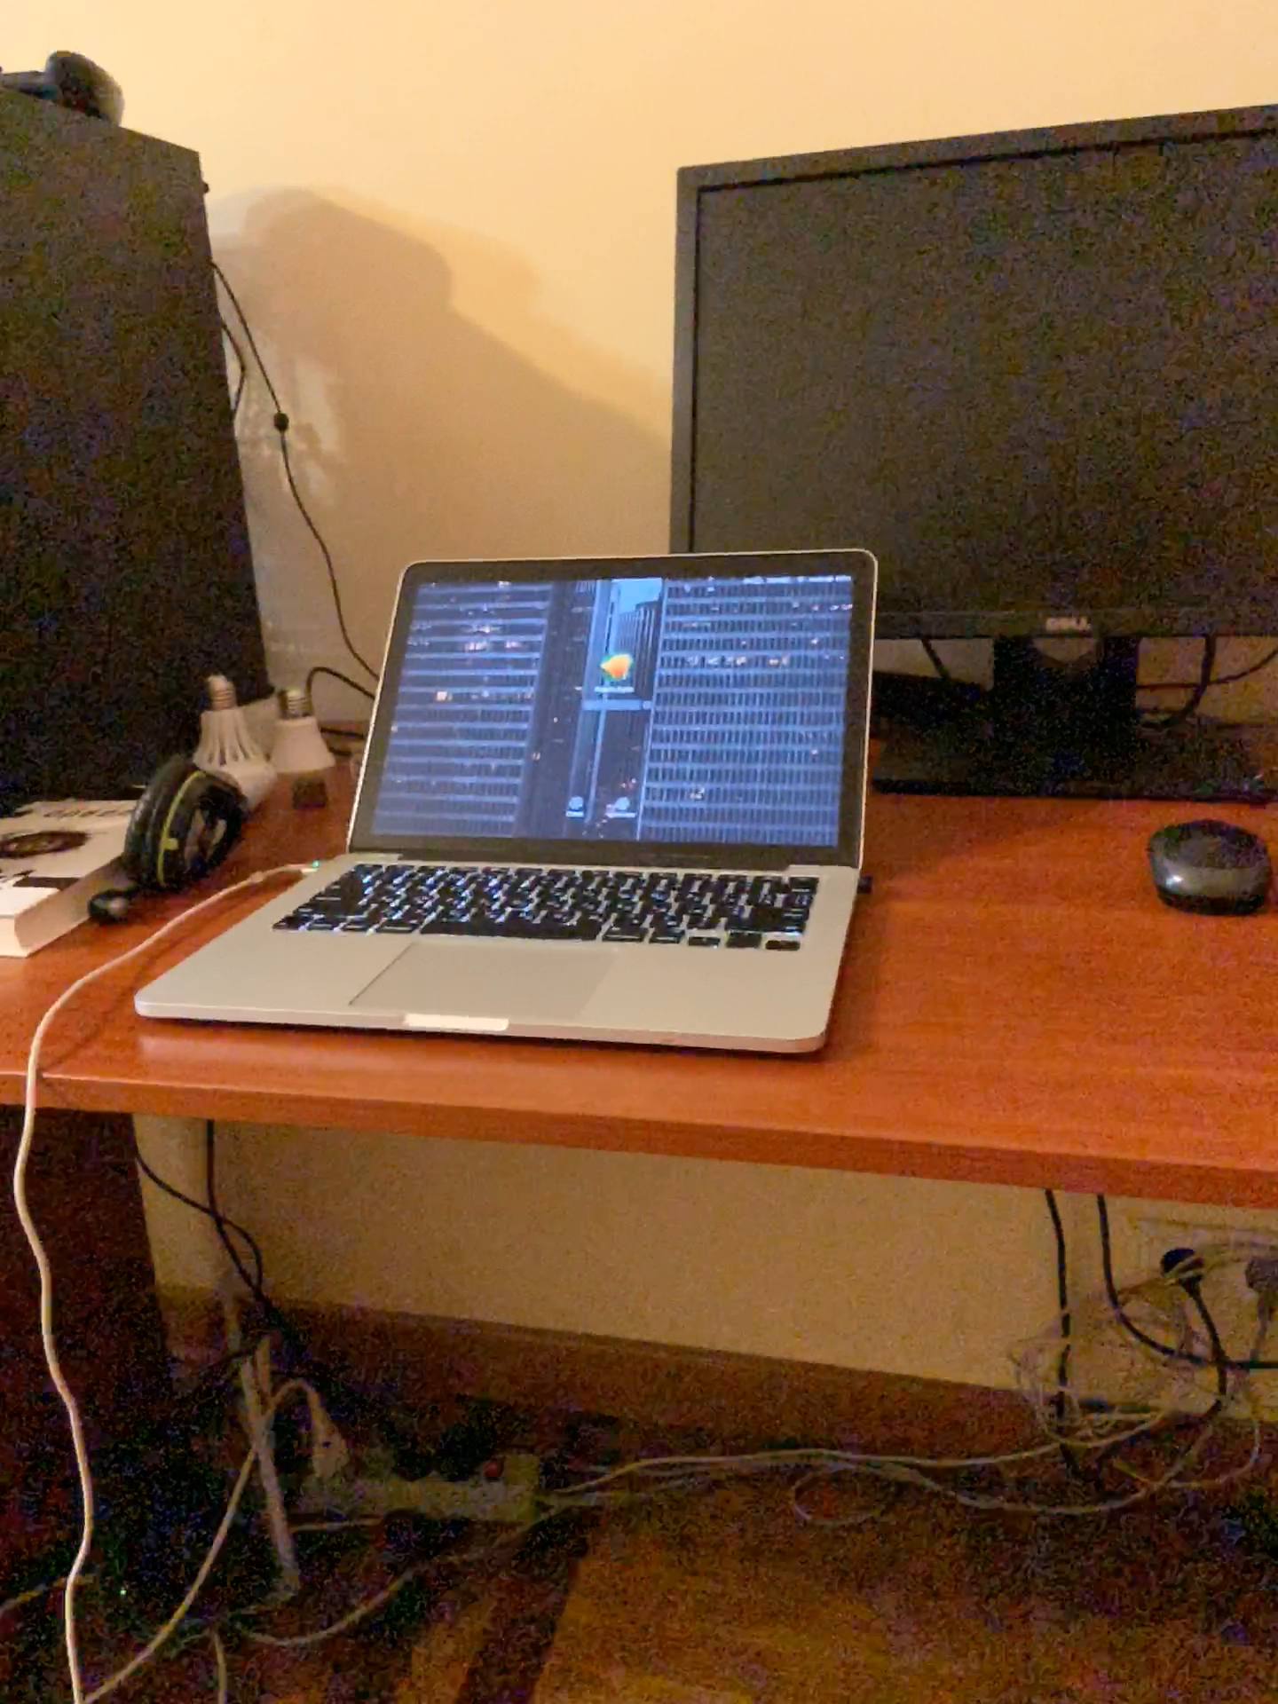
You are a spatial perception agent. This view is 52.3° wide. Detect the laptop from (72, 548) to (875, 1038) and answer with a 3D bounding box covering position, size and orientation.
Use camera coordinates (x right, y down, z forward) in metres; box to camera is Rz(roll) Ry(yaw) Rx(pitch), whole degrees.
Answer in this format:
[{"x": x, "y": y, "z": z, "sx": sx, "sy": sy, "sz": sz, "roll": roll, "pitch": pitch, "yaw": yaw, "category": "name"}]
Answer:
[{"x": -0.041, "y": -0.058, "z": 0.679, "sx": 0.300, "sy": 0.155, "sz": 0.342, "roll": 2, "pitch": 18, "yaw": 13, "category": "laptop"}]
